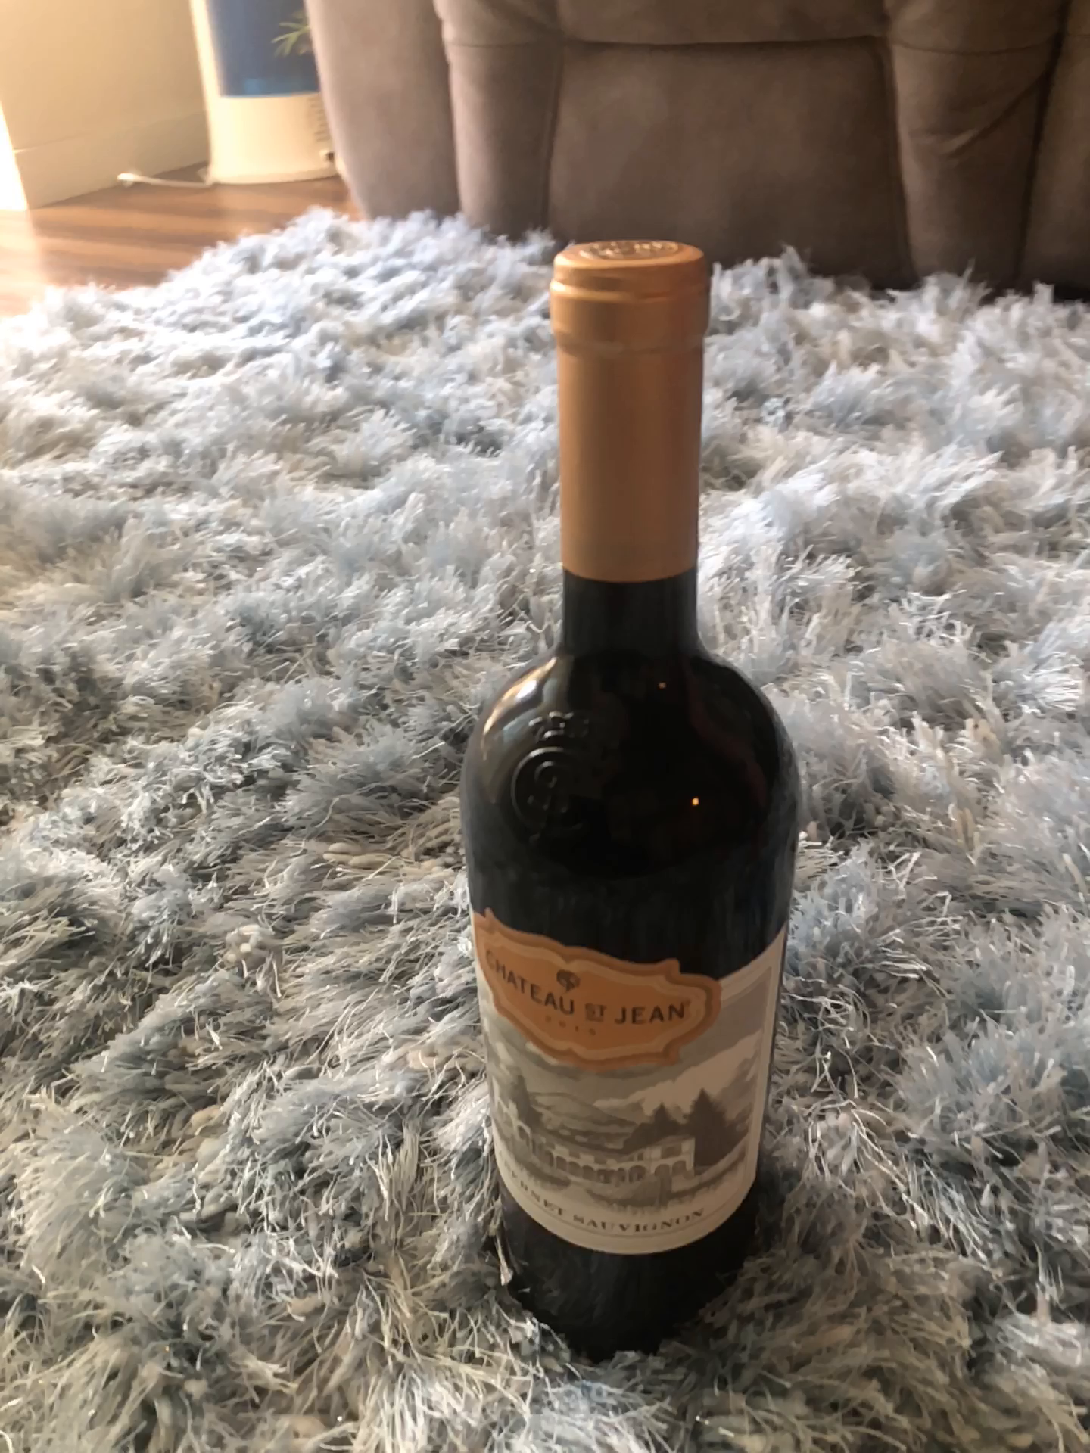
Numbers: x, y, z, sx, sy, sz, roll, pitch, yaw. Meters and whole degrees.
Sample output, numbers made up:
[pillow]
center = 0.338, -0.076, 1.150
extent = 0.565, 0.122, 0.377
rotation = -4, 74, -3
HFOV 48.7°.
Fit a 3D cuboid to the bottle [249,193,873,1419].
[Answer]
[bottle]
center = 0.017, 0.037, 0.299
extent = 0.090, 0.298, 0.090
rotation = -3, 34, 2
